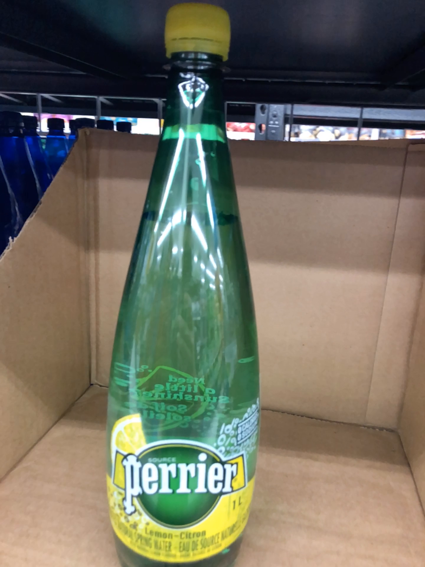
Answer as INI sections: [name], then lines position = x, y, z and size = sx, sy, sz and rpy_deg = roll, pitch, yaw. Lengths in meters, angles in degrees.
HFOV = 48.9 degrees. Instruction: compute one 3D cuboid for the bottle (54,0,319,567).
[bottle]
position = -0.015, 0.017, 0.258
size = 0.100, 0.318, 0.080
rpy_deg = 4, 16, 3
